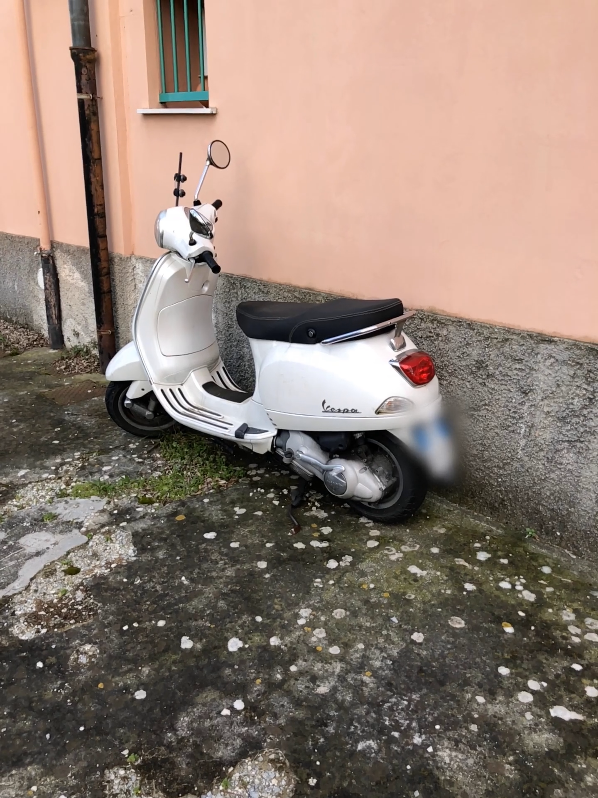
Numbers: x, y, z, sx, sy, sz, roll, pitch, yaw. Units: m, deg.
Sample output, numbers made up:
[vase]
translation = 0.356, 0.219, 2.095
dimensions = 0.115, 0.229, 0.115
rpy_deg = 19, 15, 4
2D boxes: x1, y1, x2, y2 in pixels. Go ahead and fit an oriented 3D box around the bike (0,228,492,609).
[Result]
[bike]
translation = -0.308, -0.067, 2.498
dimensions = 1.658, 1.086, 0.646
rpy_deg = 12, 22, 32
